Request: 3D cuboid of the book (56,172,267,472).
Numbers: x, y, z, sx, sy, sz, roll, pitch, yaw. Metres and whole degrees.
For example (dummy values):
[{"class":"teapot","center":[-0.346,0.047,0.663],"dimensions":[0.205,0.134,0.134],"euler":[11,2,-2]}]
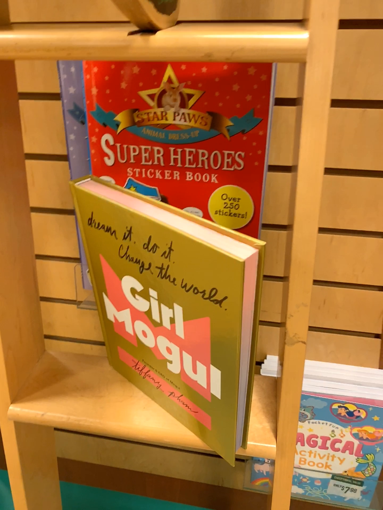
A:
[{"class":"book","center":[-0.030,0.059,0.340],"dimensions":[0.180,0.219,0.030],"euler":[25,42,34]}]
